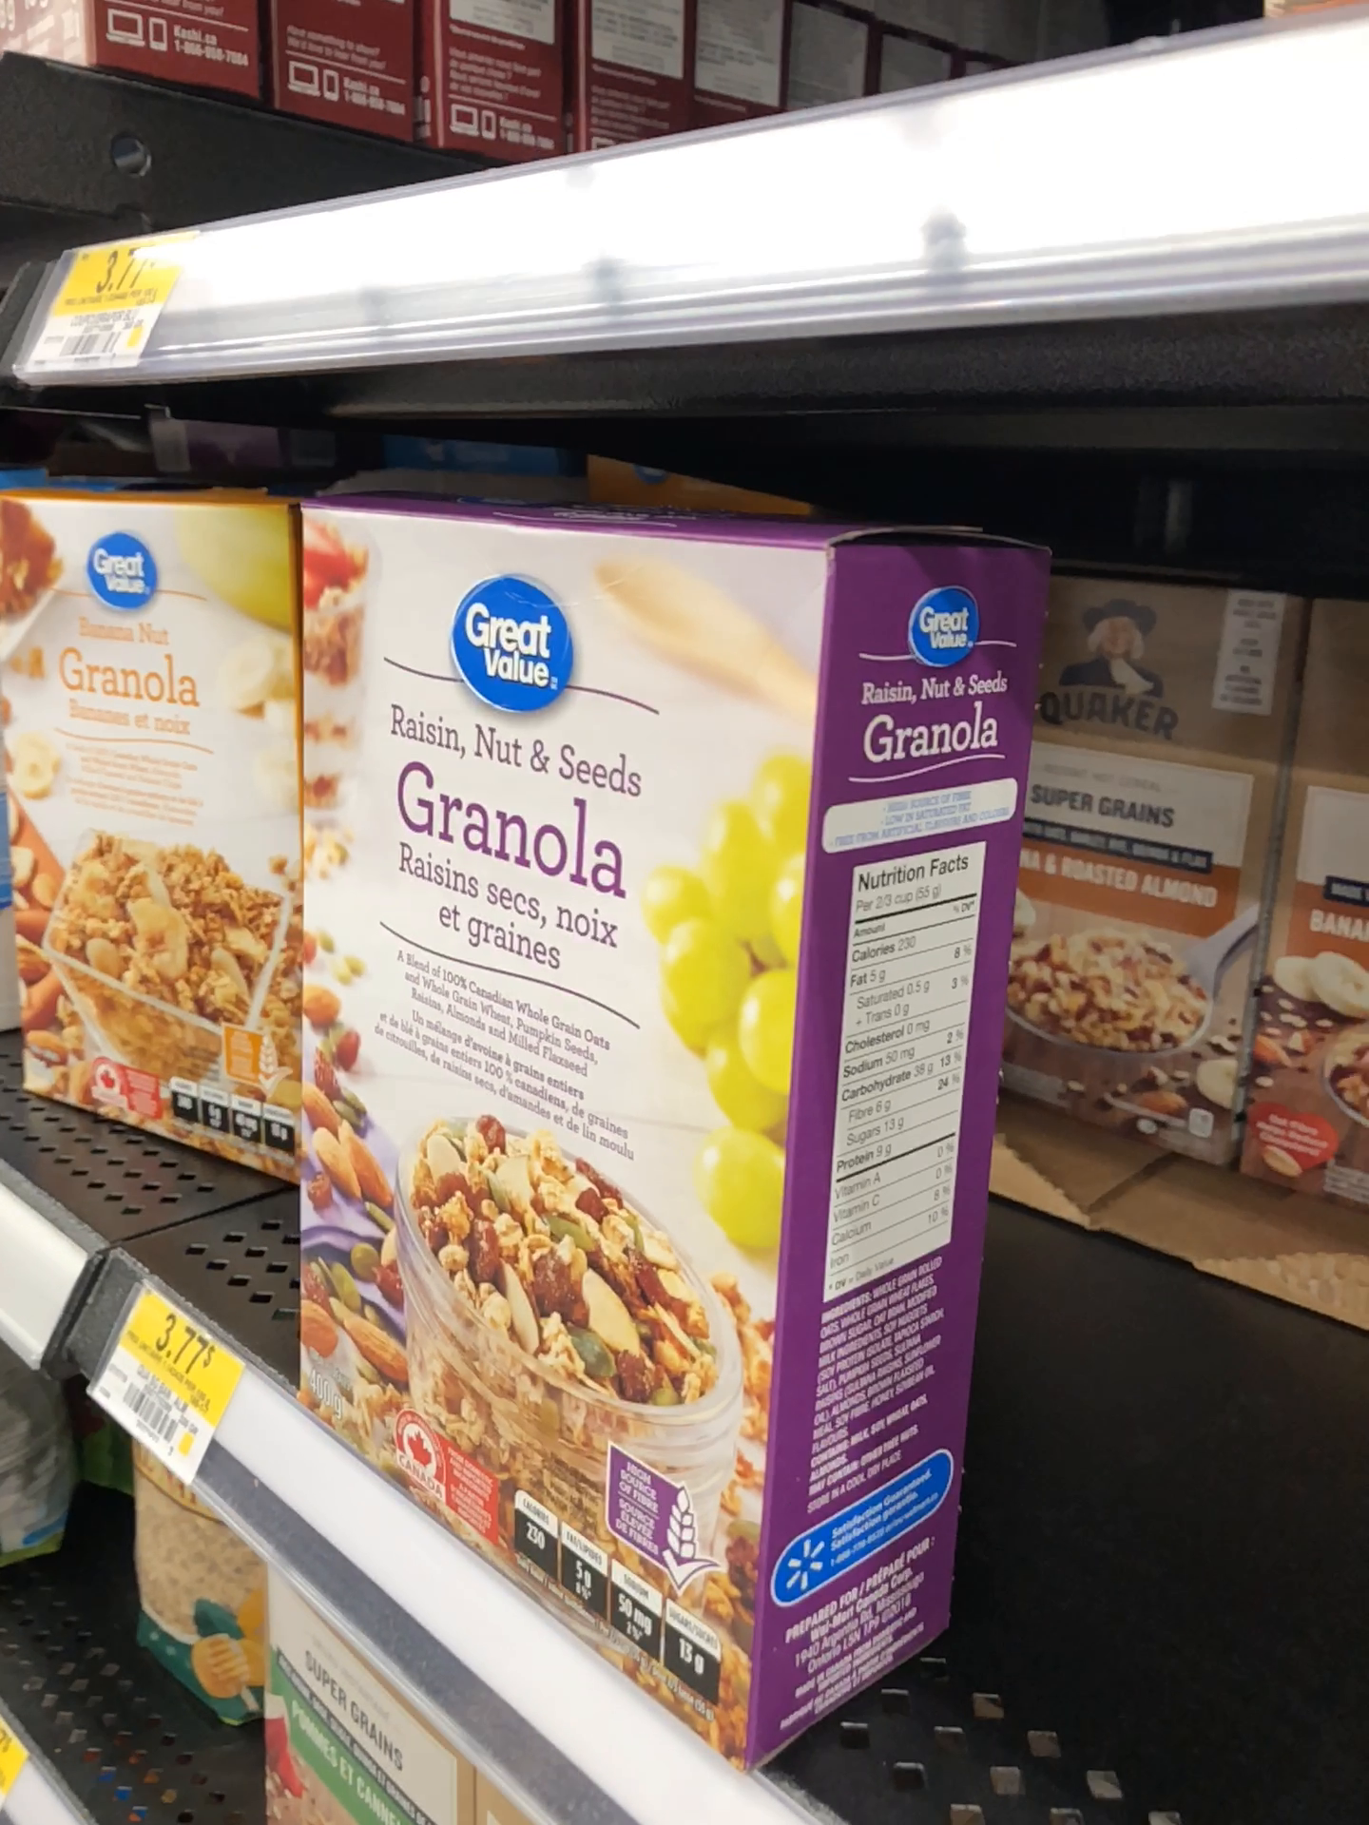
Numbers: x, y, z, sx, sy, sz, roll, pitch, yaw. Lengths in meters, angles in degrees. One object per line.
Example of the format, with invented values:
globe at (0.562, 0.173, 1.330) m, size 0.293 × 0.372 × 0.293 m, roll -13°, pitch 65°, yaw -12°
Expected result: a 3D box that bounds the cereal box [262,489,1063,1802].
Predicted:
cereal box at (-0.018, 0.028, 0.316) m, size 0.060 × 0.219 × 0.160 m, roll -10°, pitch 19°, yaw -43°
